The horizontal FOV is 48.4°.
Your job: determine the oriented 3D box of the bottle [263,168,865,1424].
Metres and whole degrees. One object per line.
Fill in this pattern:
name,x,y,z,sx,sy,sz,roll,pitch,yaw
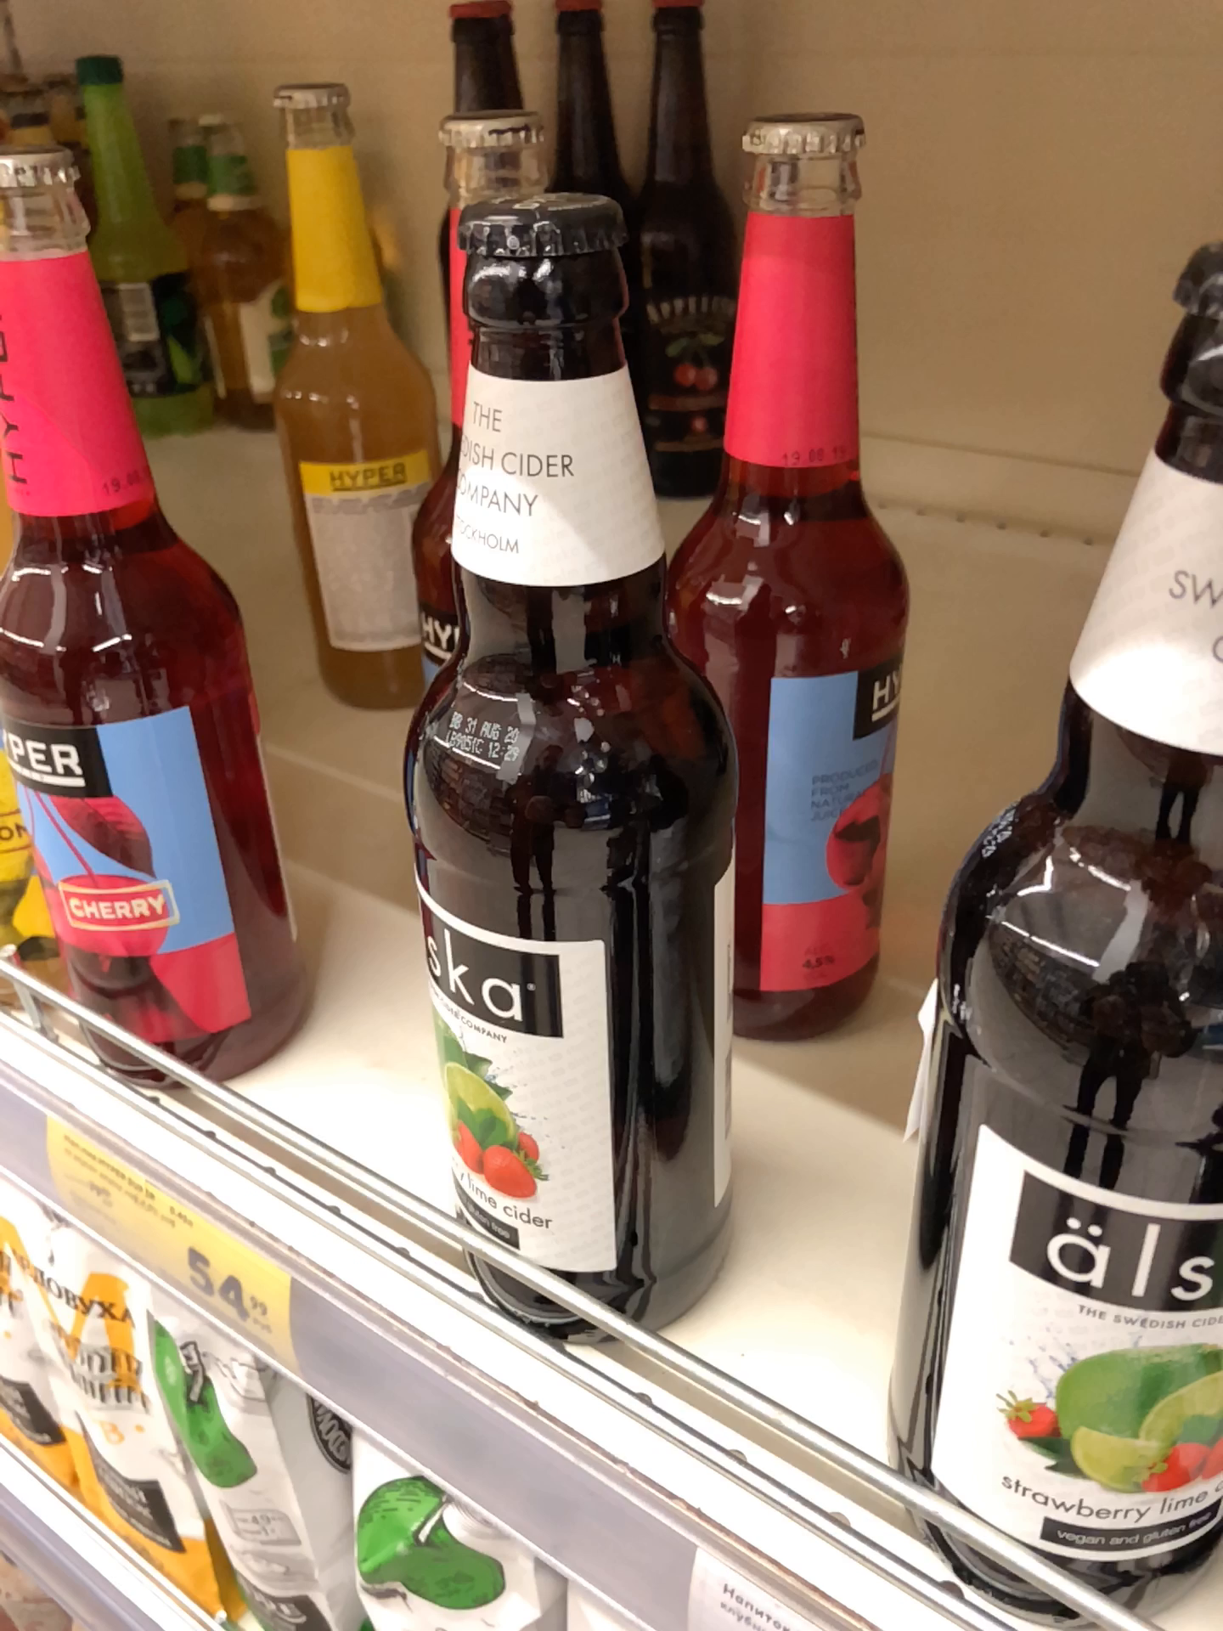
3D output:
bottle,-0.005,0.004,0.278,0.070,0.239,0.070,-2,30,1
